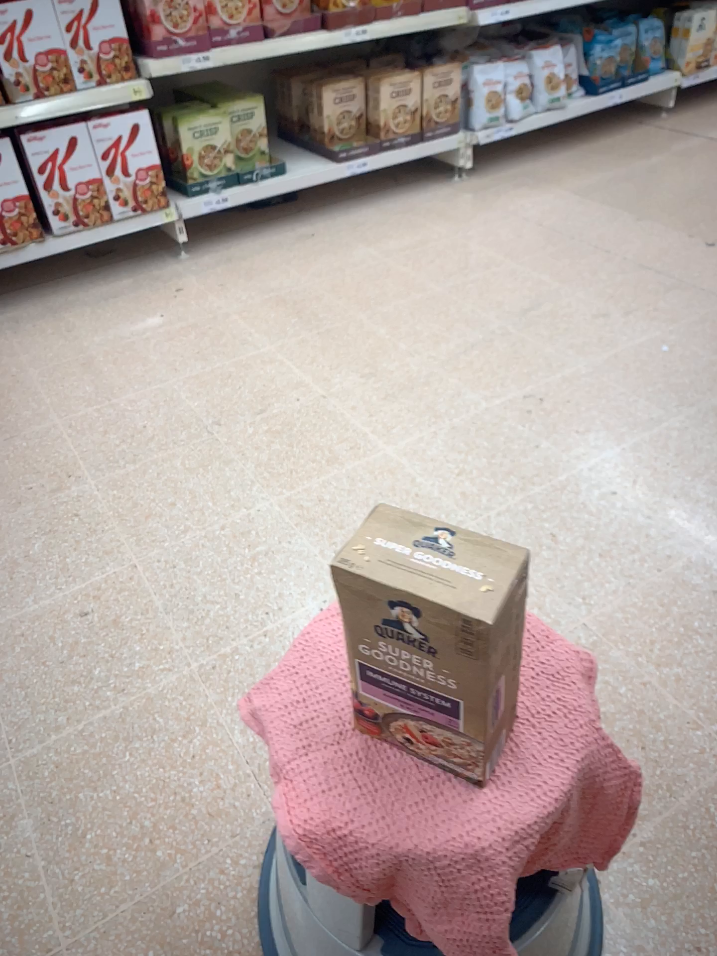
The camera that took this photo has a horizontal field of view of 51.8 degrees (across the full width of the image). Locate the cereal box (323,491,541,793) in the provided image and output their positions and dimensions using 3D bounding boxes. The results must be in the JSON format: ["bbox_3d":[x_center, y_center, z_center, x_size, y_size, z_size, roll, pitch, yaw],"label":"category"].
[{"bbox_3d":[0.061,0.134,0.595,0.130,0.208,0.091,16,44,25],"label":"cereal box"}]
